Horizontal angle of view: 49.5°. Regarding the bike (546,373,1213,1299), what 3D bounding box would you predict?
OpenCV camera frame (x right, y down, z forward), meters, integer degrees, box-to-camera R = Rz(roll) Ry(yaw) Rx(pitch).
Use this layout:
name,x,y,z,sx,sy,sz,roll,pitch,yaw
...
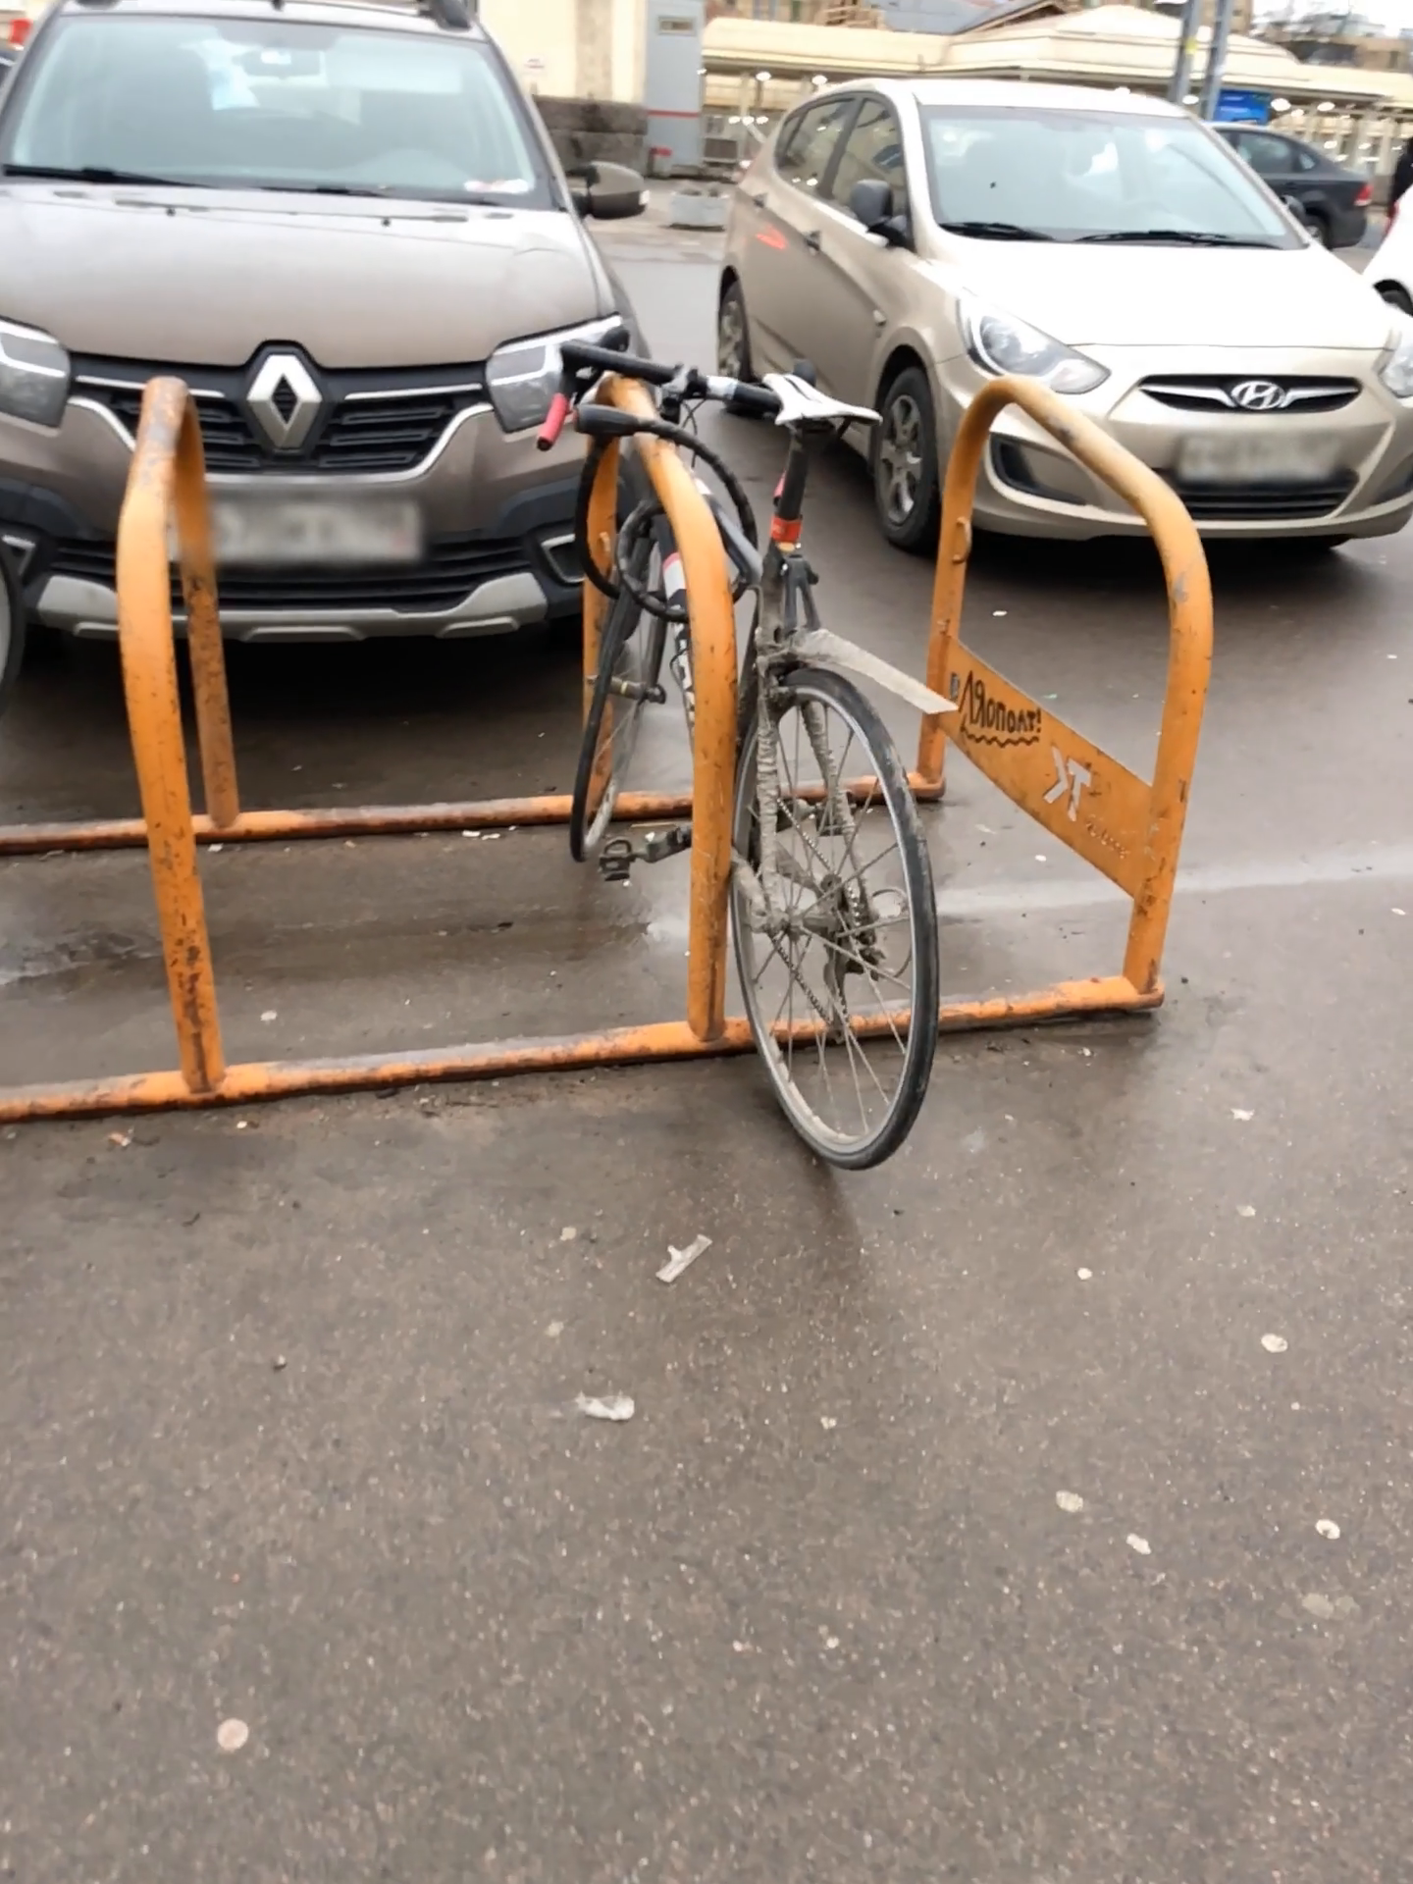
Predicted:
name,x,y,z,sx,sy,sz,roll,pitch,yaw
bike,0.102,-0.322,2.326,0.489,0.761,1.524,-4,29,-13
